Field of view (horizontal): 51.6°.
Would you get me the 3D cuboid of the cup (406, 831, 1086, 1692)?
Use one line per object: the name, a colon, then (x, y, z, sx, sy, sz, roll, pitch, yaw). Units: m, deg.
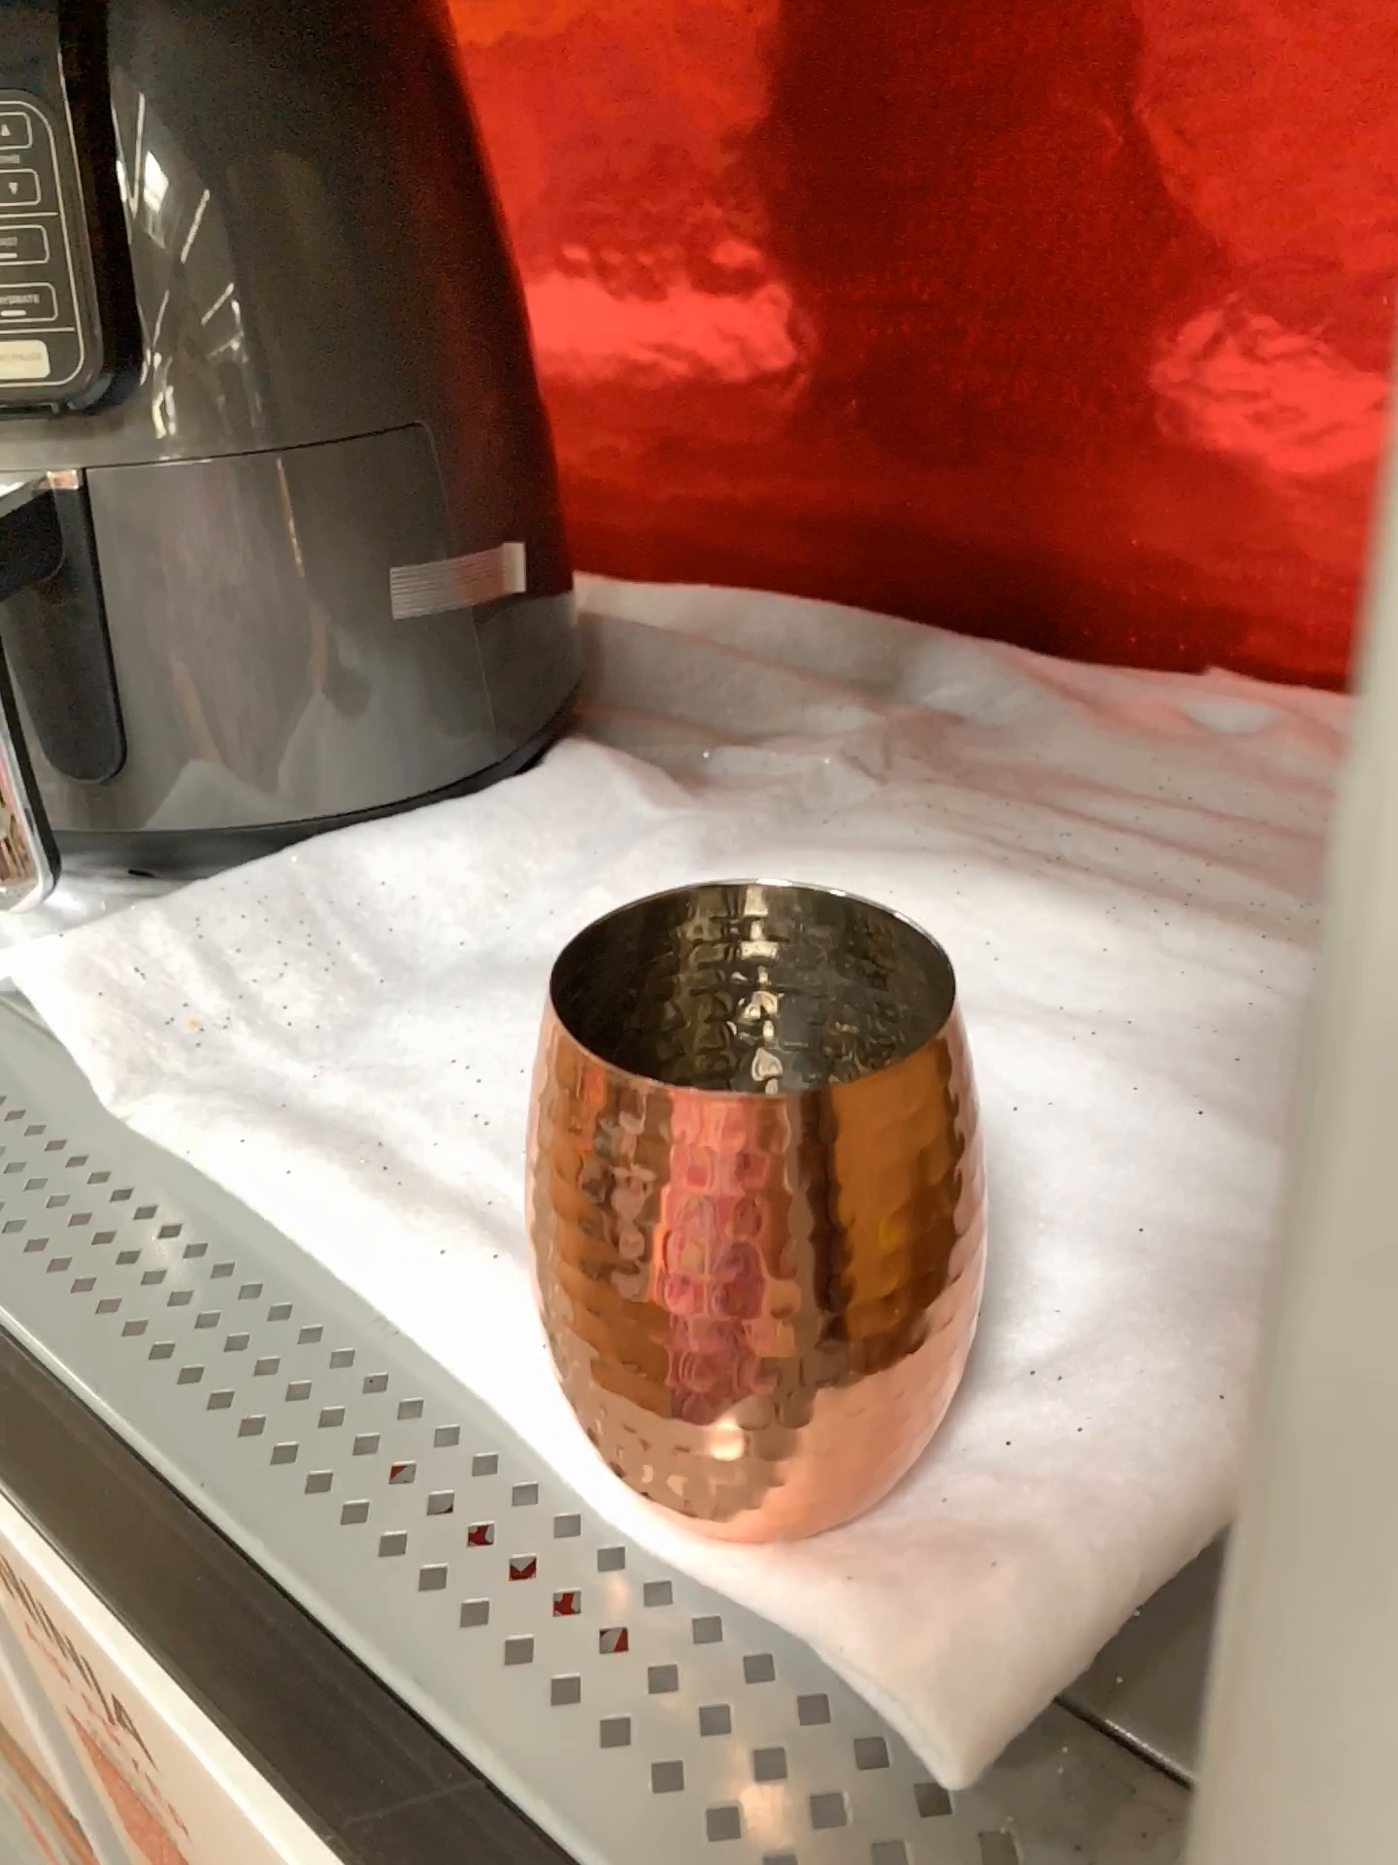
cup: (0.011, 0.053, 0.263, 0.080, 0.104, 0.079, -4, 30, 2)
